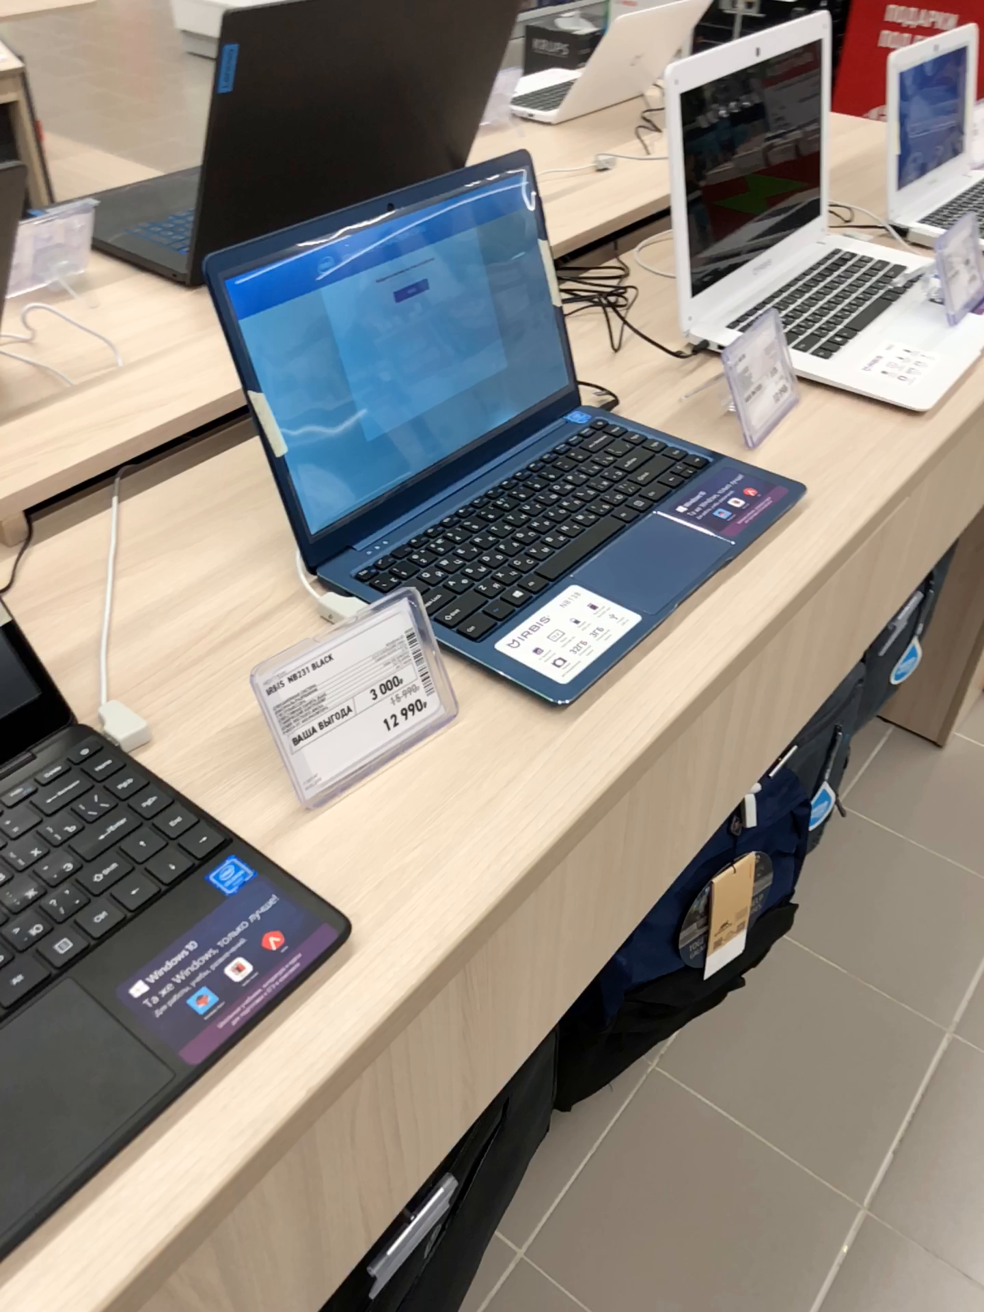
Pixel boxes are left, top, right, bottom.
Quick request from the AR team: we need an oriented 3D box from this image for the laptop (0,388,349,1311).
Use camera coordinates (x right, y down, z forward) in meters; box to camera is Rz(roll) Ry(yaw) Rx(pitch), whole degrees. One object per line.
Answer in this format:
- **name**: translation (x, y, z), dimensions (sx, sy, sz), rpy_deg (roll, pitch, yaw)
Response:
- **laptop**: translation (-0.285, 0.063, 0.414), dimensions (0.328, 0.155, 0.301), rpy_deg (27, 44, 26)

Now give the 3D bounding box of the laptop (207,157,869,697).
- **laptop**: translation (0.036, -0.177, 0.716), dimensions (0.271, 0.185, 0.310), rpy_deg (28, 46, 28)

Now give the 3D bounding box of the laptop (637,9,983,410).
- **laptop**: translation (0.348, -0.432, 1.000), dimensions (0.289, 0.217, 0.311), rpy_deg (26, 46, 26)
